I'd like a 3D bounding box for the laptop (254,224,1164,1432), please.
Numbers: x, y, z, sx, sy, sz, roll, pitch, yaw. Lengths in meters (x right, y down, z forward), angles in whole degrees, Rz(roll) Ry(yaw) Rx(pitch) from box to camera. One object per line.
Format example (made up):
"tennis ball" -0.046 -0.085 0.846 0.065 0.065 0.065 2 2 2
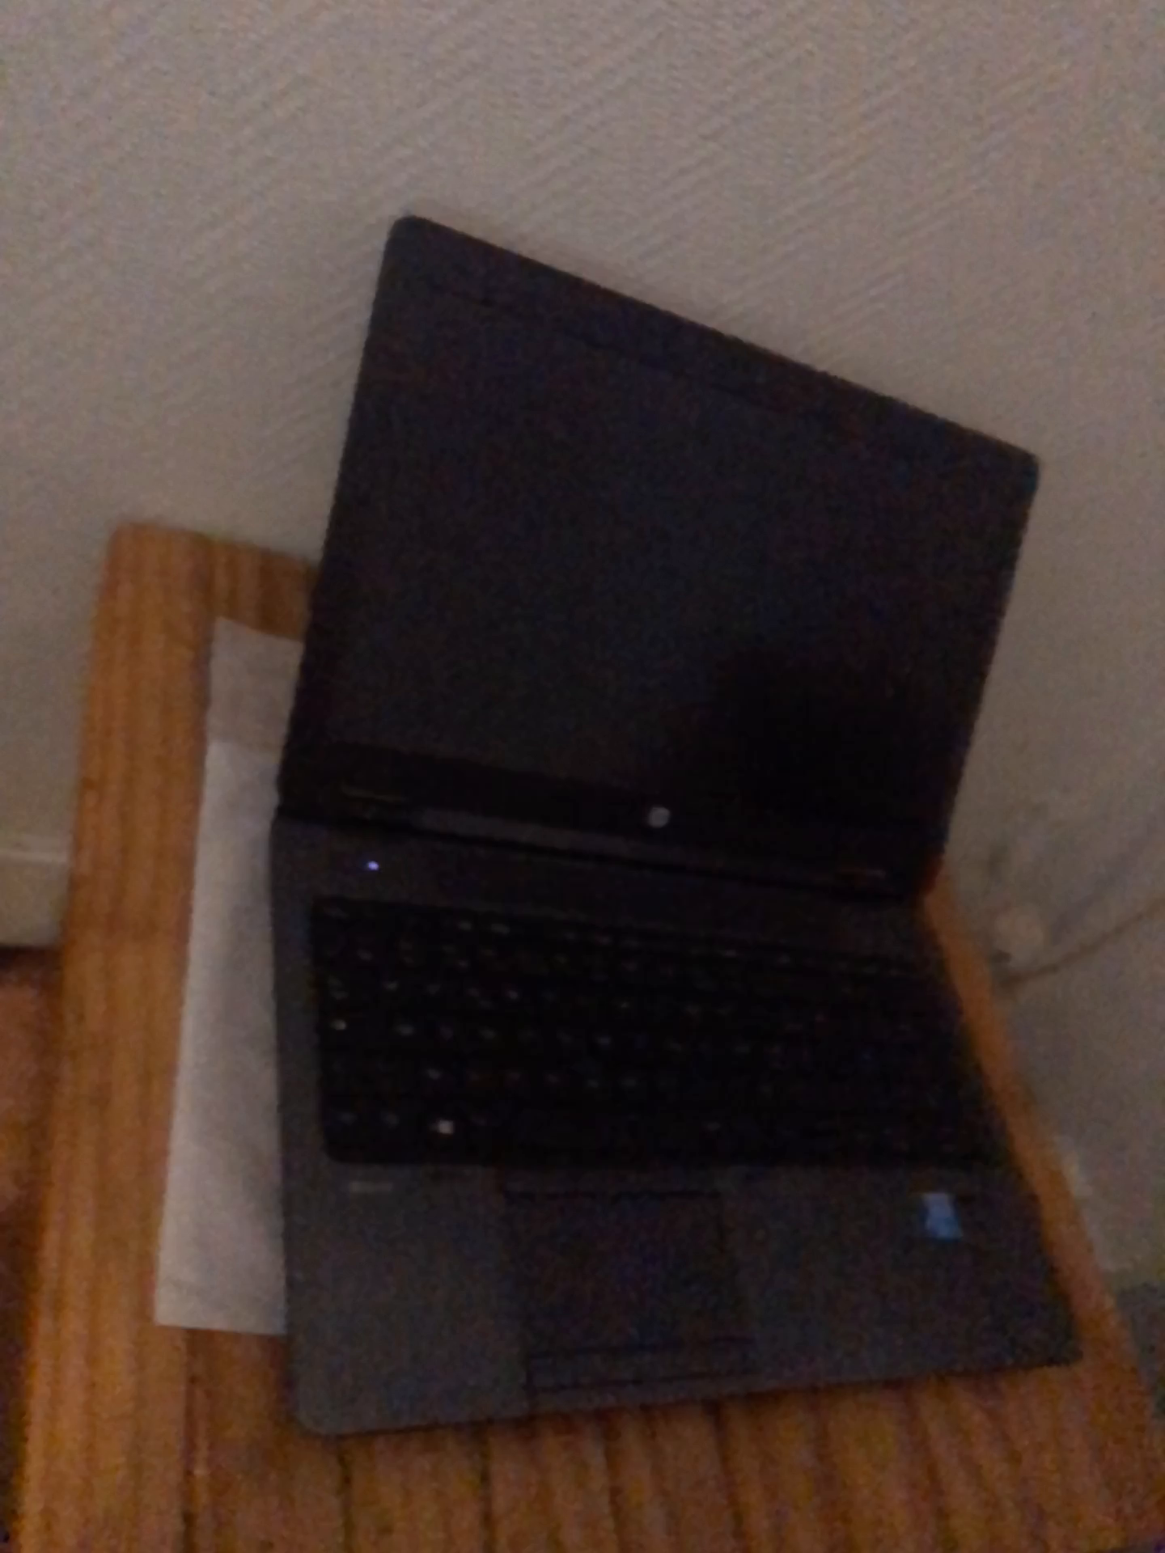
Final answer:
"laptop" 0.081 0.022 0.576 0.383 0.195 0.410 10 49 -29
